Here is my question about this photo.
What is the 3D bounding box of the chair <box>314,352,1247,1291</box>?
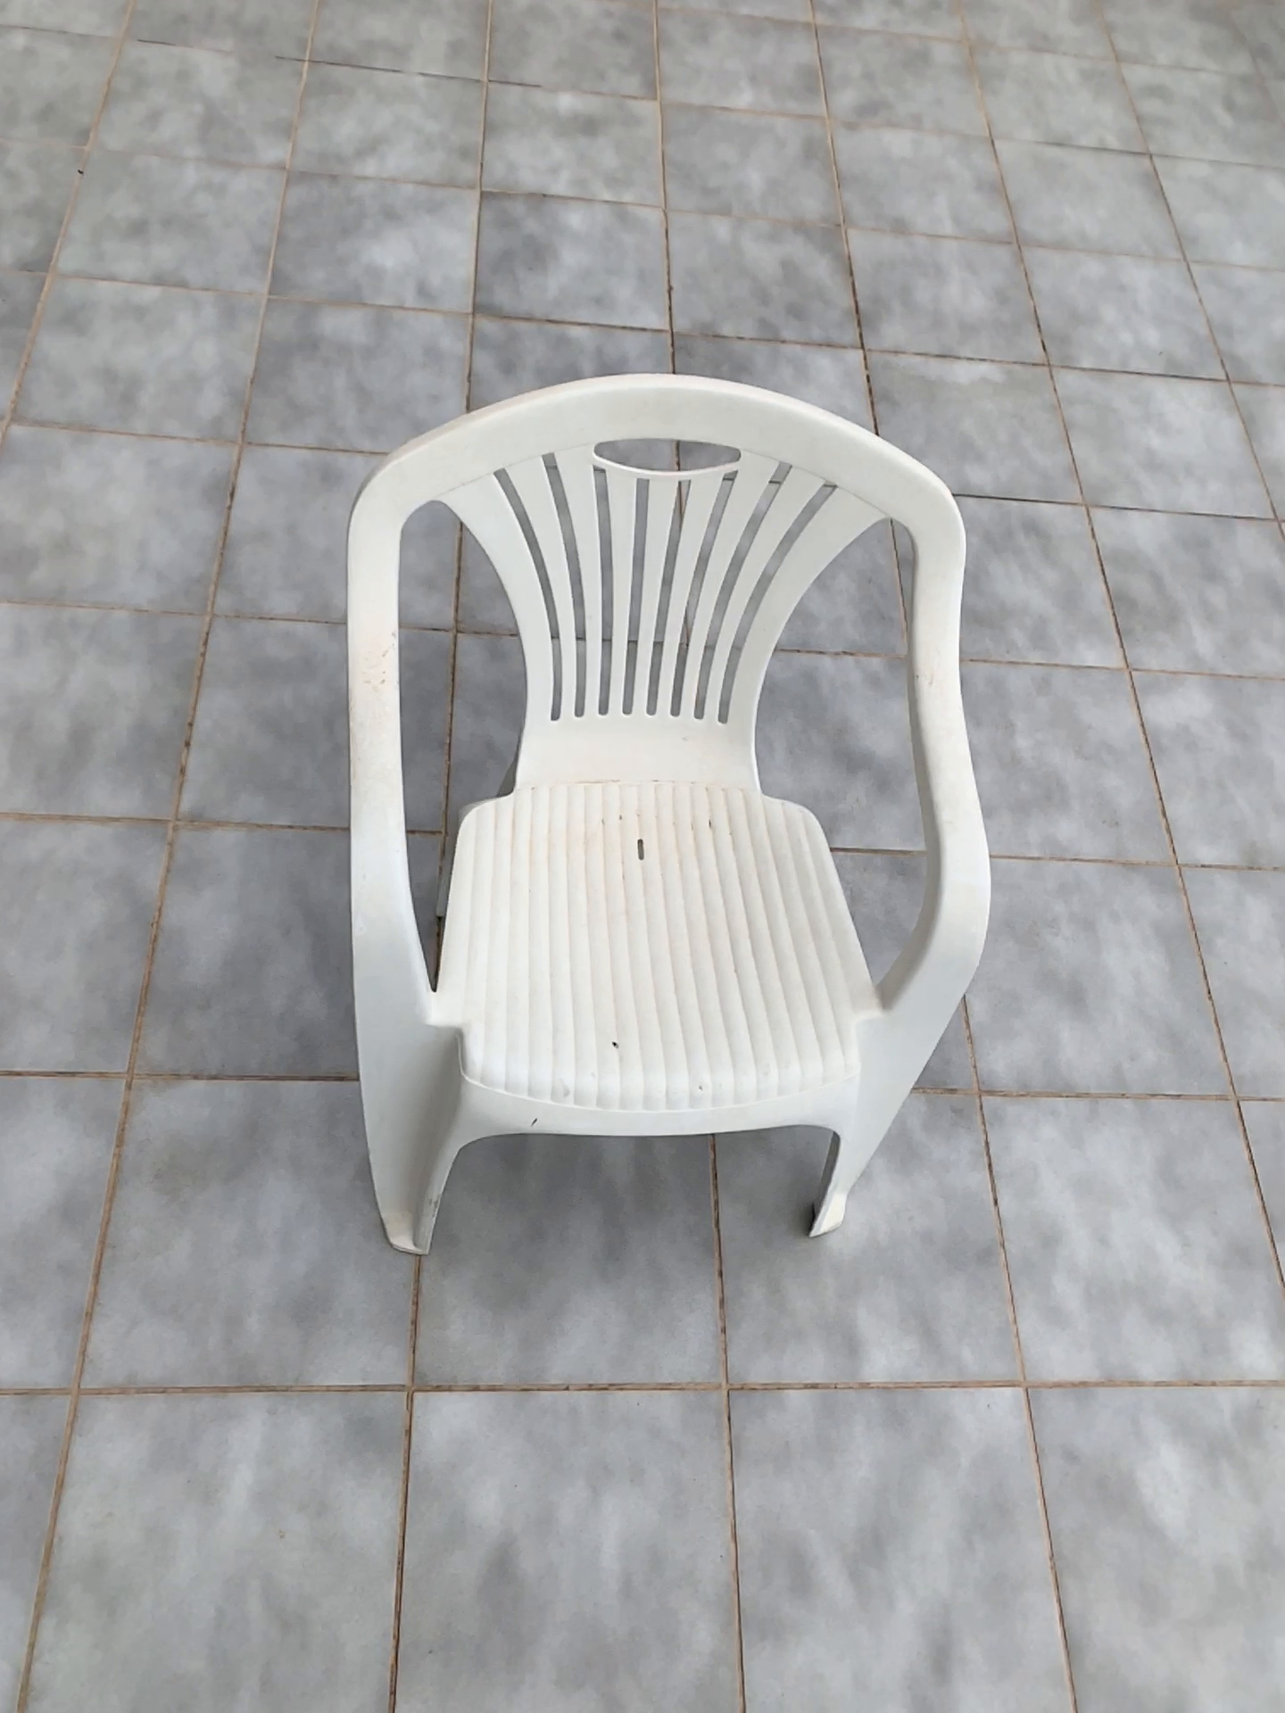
[{"bbox_3d":[0.026,0.019,1.200,0.570,0.668,0.562,-1,60,-10],"label":"chair"}]
